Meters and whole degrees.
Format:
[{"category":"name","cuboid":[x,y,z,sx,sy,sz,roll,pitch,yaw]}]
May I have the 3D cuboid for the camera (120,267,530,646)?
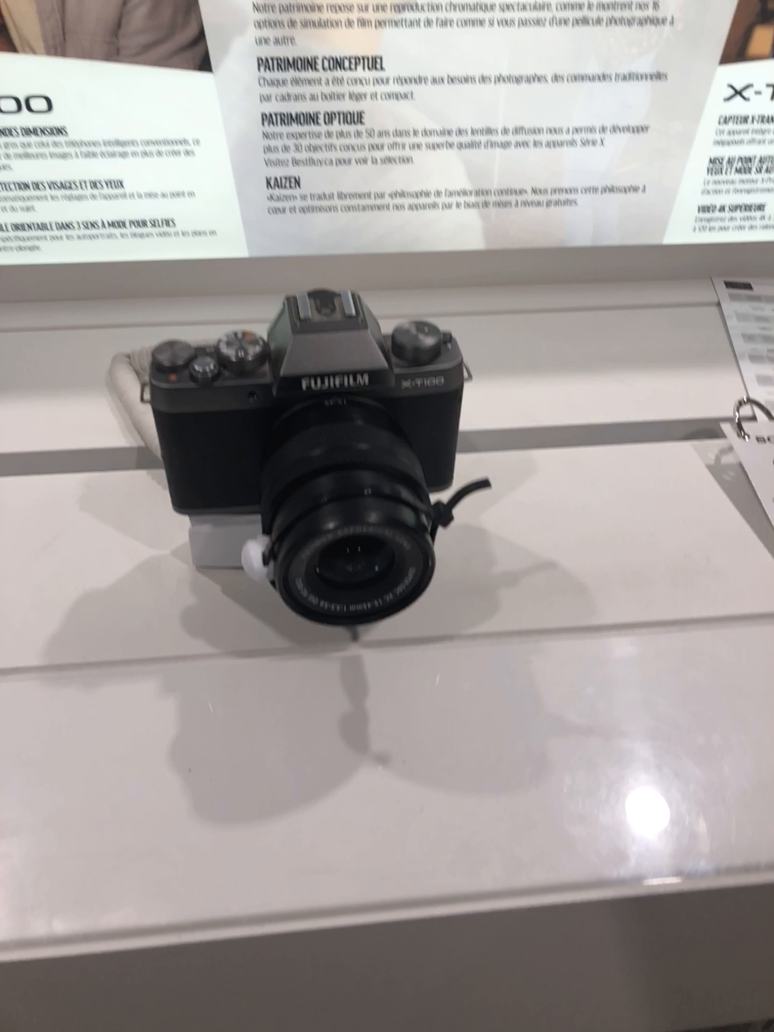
[{"category":"camera","cuboid":[-0.025,-0.028,0.343,0.130,0.099,0.108,-4,39,-6]}]
